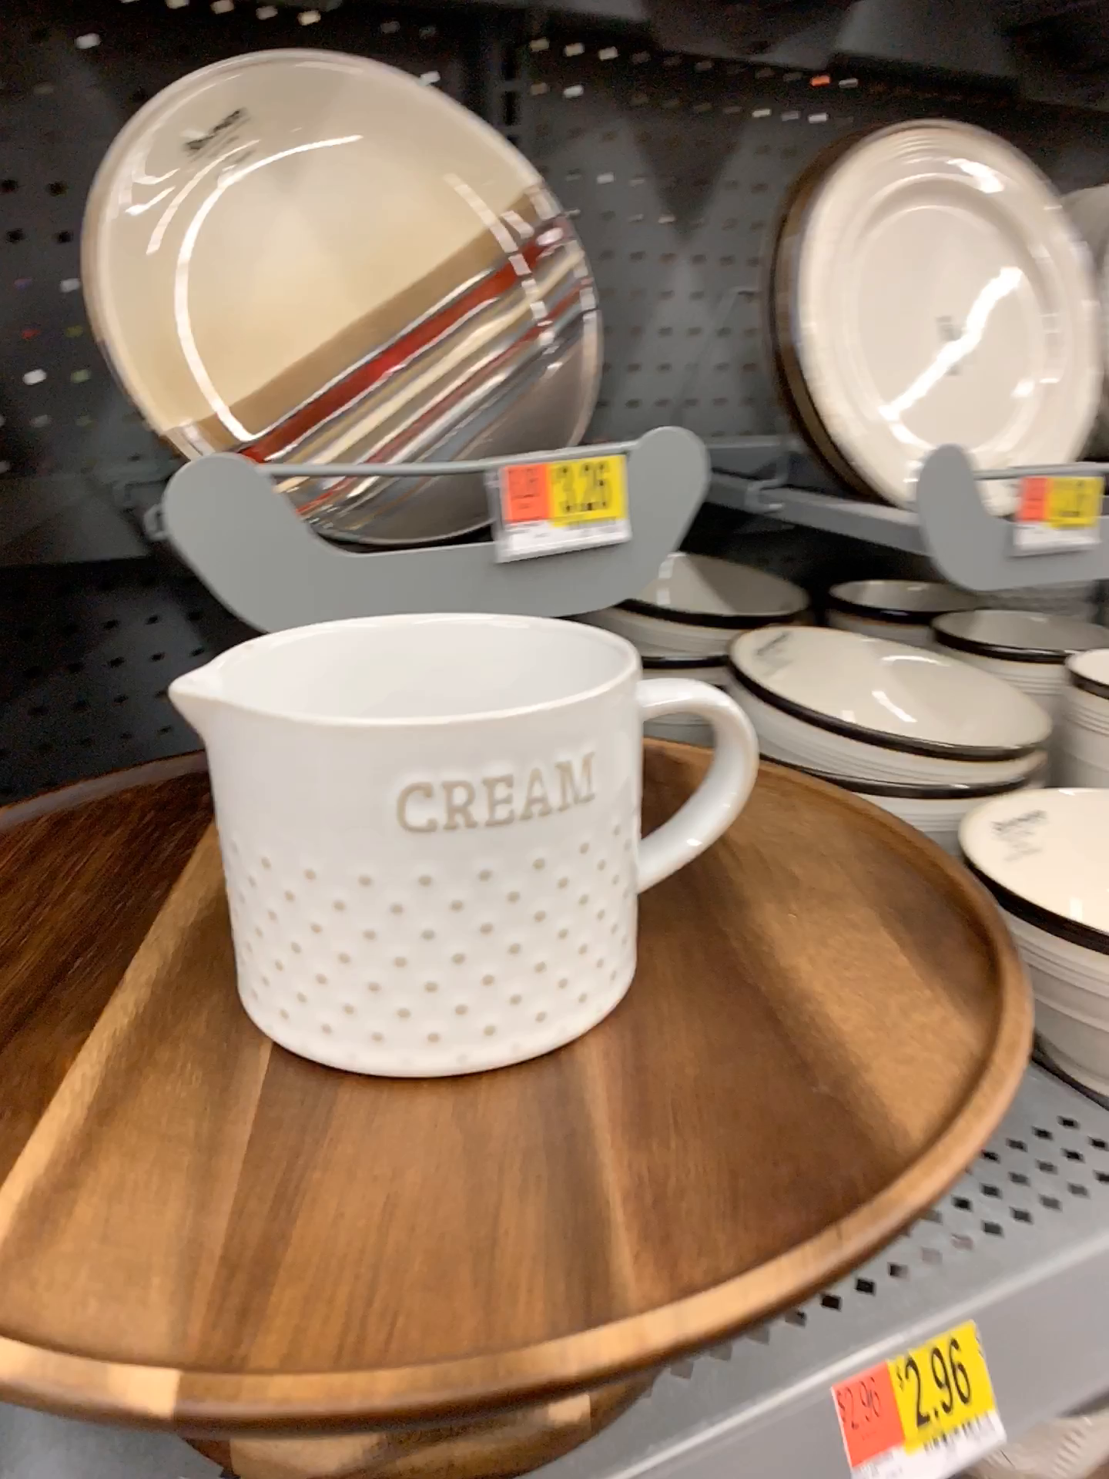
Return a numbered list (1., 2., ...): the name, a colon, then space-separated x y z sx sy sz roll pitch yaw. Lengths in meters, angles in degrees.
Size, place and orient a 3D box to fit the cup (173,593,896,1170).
1. cup: -0.011 0.022 0.292 0.150 0.090 0.100 -7 20 -20
